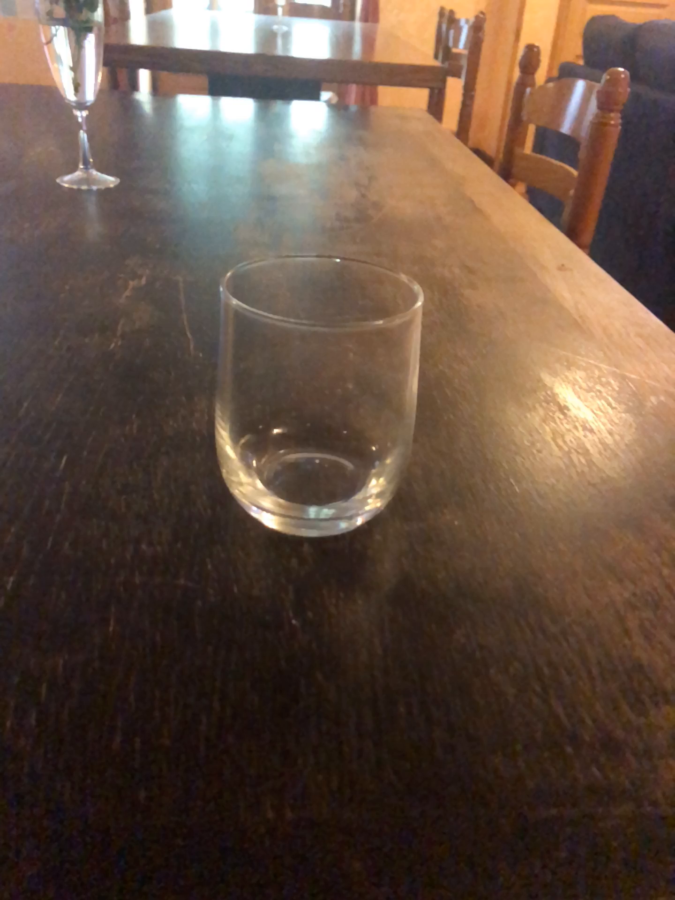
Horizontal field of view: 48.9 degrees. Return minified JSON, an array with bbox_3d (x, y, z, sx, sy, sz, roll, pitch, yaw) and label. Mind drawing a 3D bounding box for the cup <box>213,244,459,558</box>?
[{"bbox_3d":[-0.007,-0.021,0.268,0.070,0.084,0.078,-2,32,-10],"label":"cup"}]
